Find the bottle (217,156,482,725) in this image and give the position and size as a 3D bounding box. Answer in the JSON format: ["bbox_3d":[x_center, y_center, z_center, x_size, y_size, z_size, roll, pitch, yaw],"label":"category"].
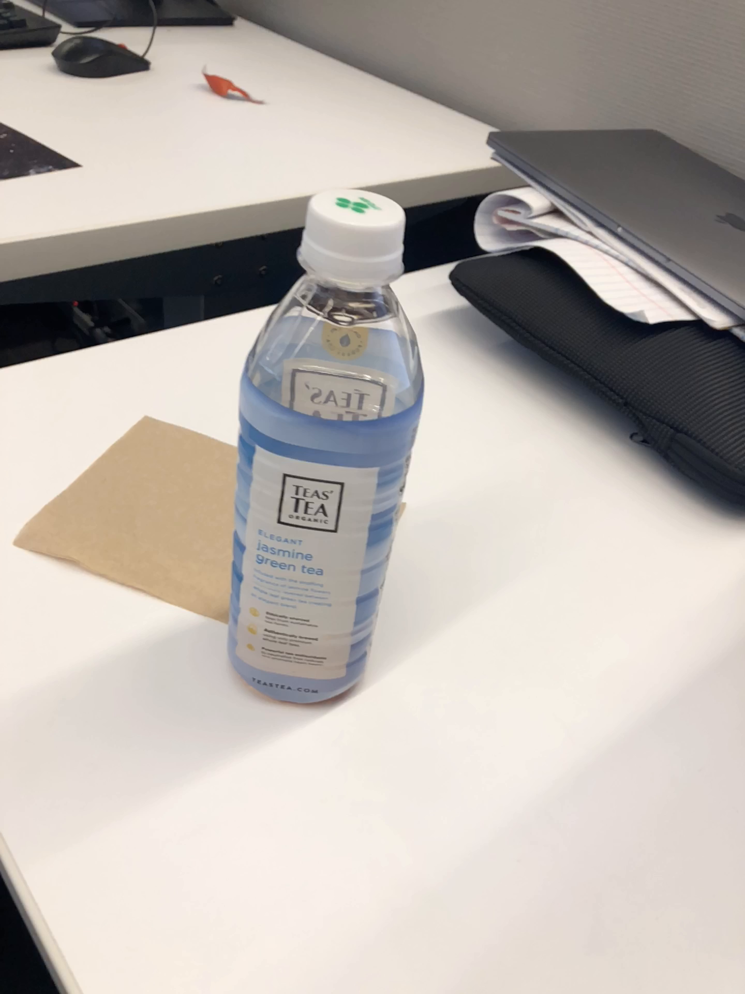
[{"bbox_3d":[-0.016,-0.010,0.324,0.070,0.209,0.070,6,38,-5],"label":"bottle"}]
